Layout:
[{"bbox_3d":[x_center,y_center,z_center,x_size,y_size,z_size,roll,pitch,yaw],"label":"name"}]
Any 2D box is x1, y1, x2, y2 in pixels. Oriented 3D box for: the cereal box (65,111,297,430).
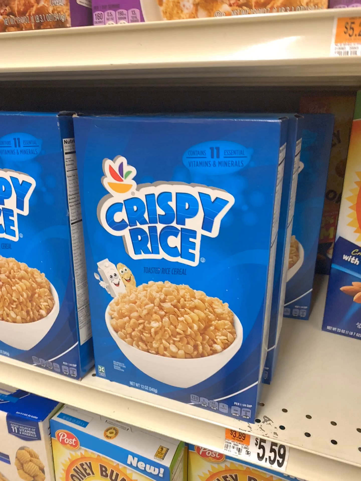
[{"bbox_3d":[-0.002,0.029,0.410,0.210,0.318,0.070,8,22,20],"label":"cereal box"}]
